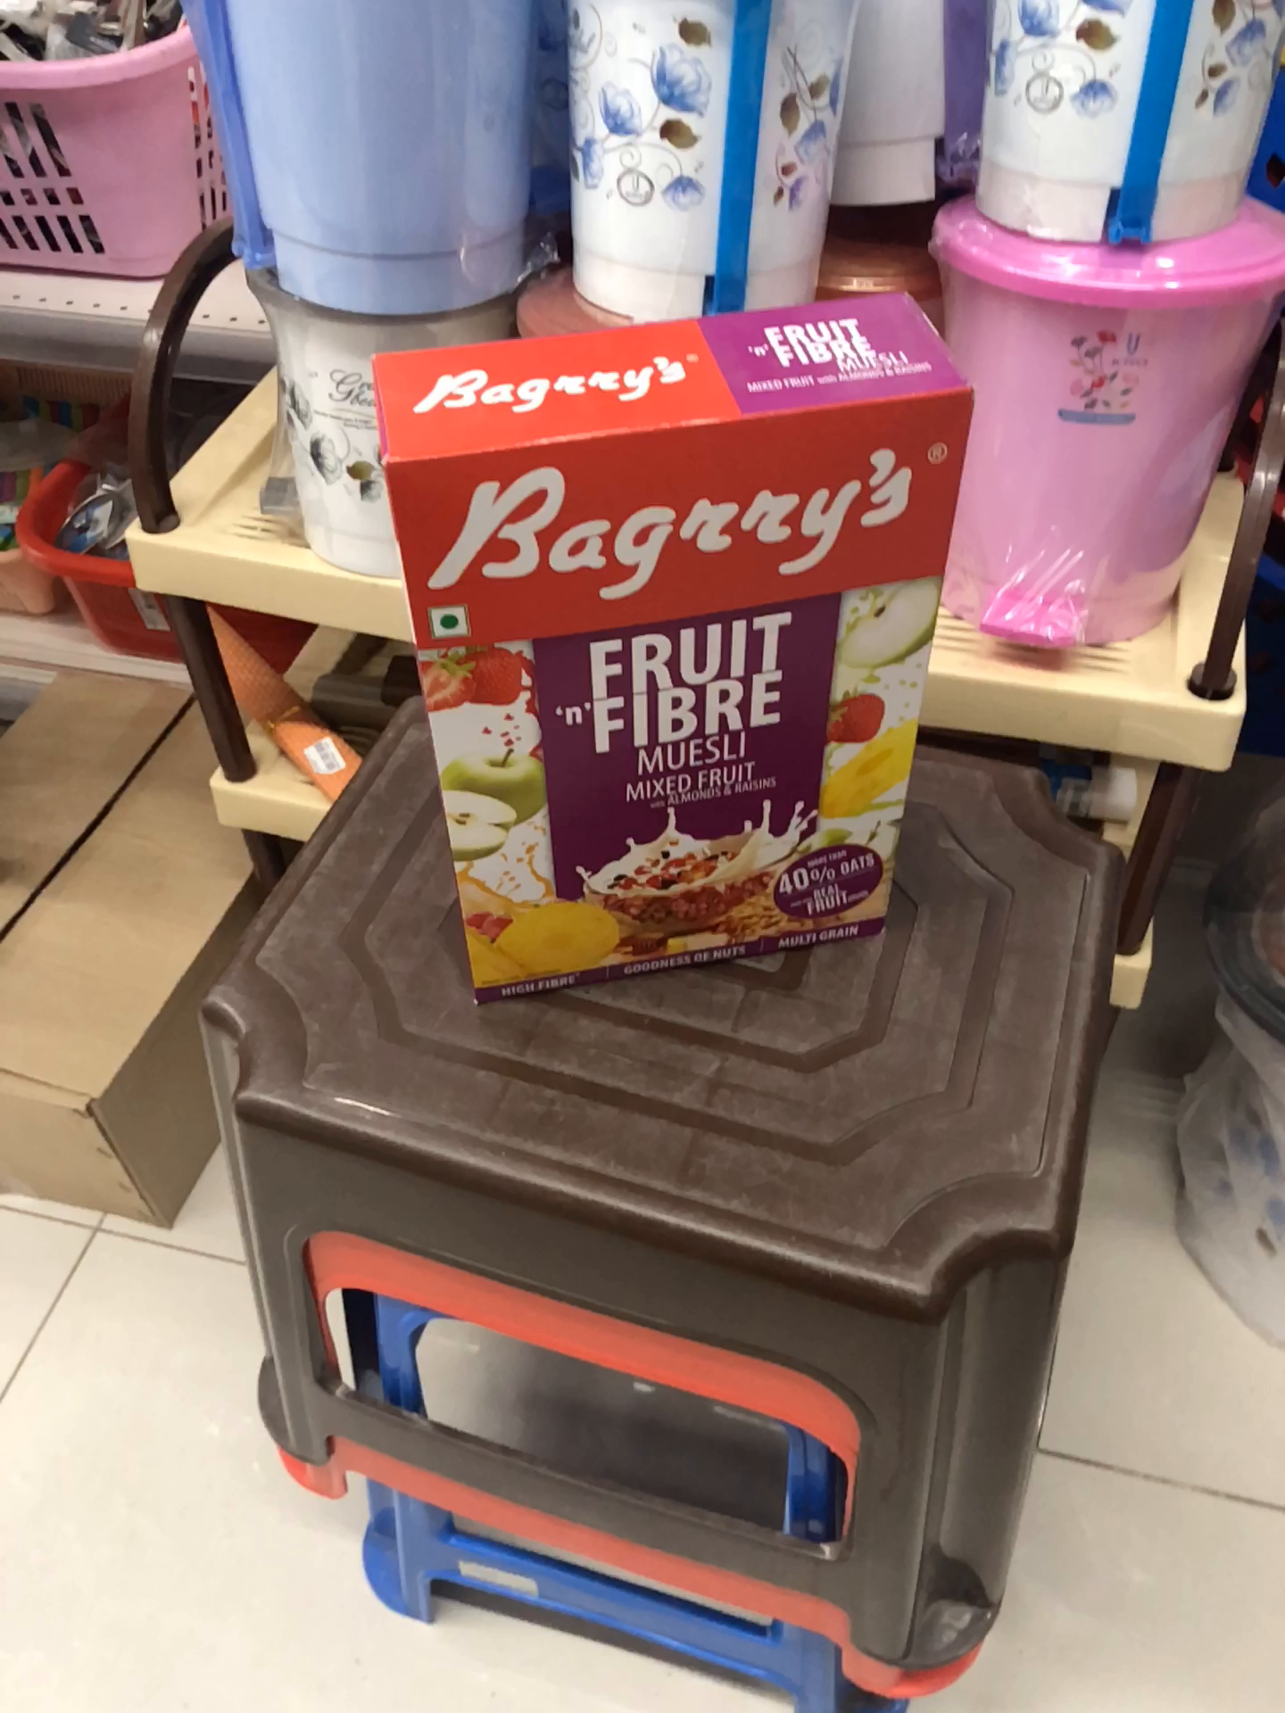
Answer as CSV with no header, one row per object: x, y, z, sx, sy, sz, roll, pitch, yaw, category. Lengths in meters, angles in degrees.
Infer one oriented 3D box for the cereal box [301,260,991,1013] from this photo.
0.001,-0.066,0.526,0.200,0.259,0.070,-9,46,-7,cereal box
